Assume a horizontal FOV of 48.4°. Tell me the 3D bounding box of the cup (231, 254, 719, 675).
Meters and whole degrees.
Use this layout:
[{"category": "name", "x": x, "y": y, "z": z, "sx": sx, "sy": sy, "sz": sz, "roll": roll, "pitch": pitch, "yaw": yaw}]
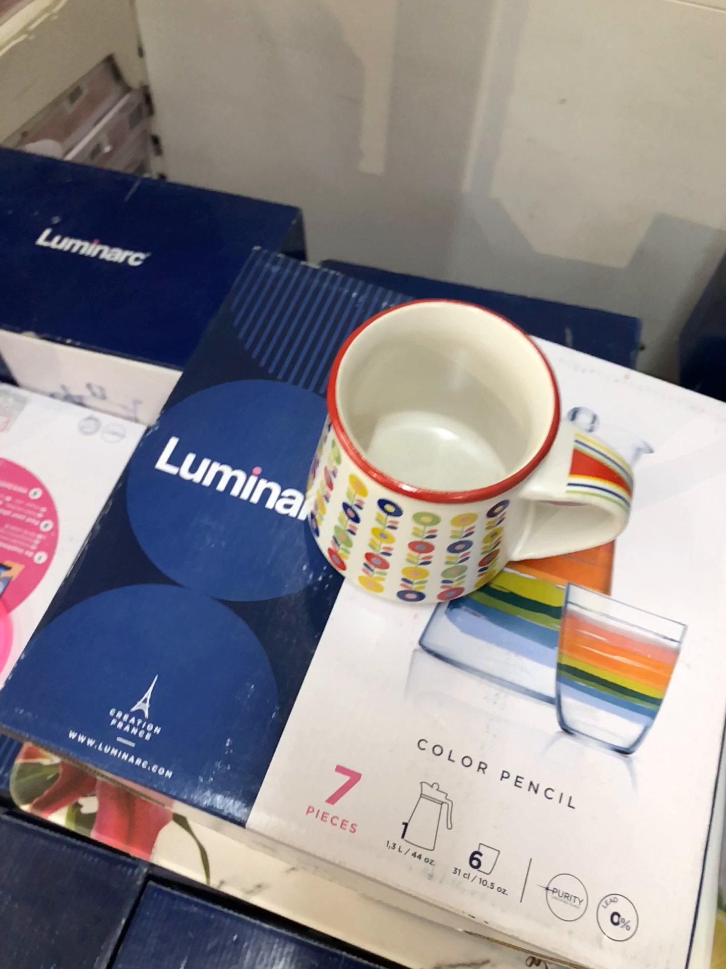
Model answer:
[{"category": "cup", "x": 0.036, "y": -0.003, "z": 0.283, "sx": 0.130, "sy": 0.090, "sz": 0.080, "roll": 18, "pitch": 64, "yaw": 8}]
